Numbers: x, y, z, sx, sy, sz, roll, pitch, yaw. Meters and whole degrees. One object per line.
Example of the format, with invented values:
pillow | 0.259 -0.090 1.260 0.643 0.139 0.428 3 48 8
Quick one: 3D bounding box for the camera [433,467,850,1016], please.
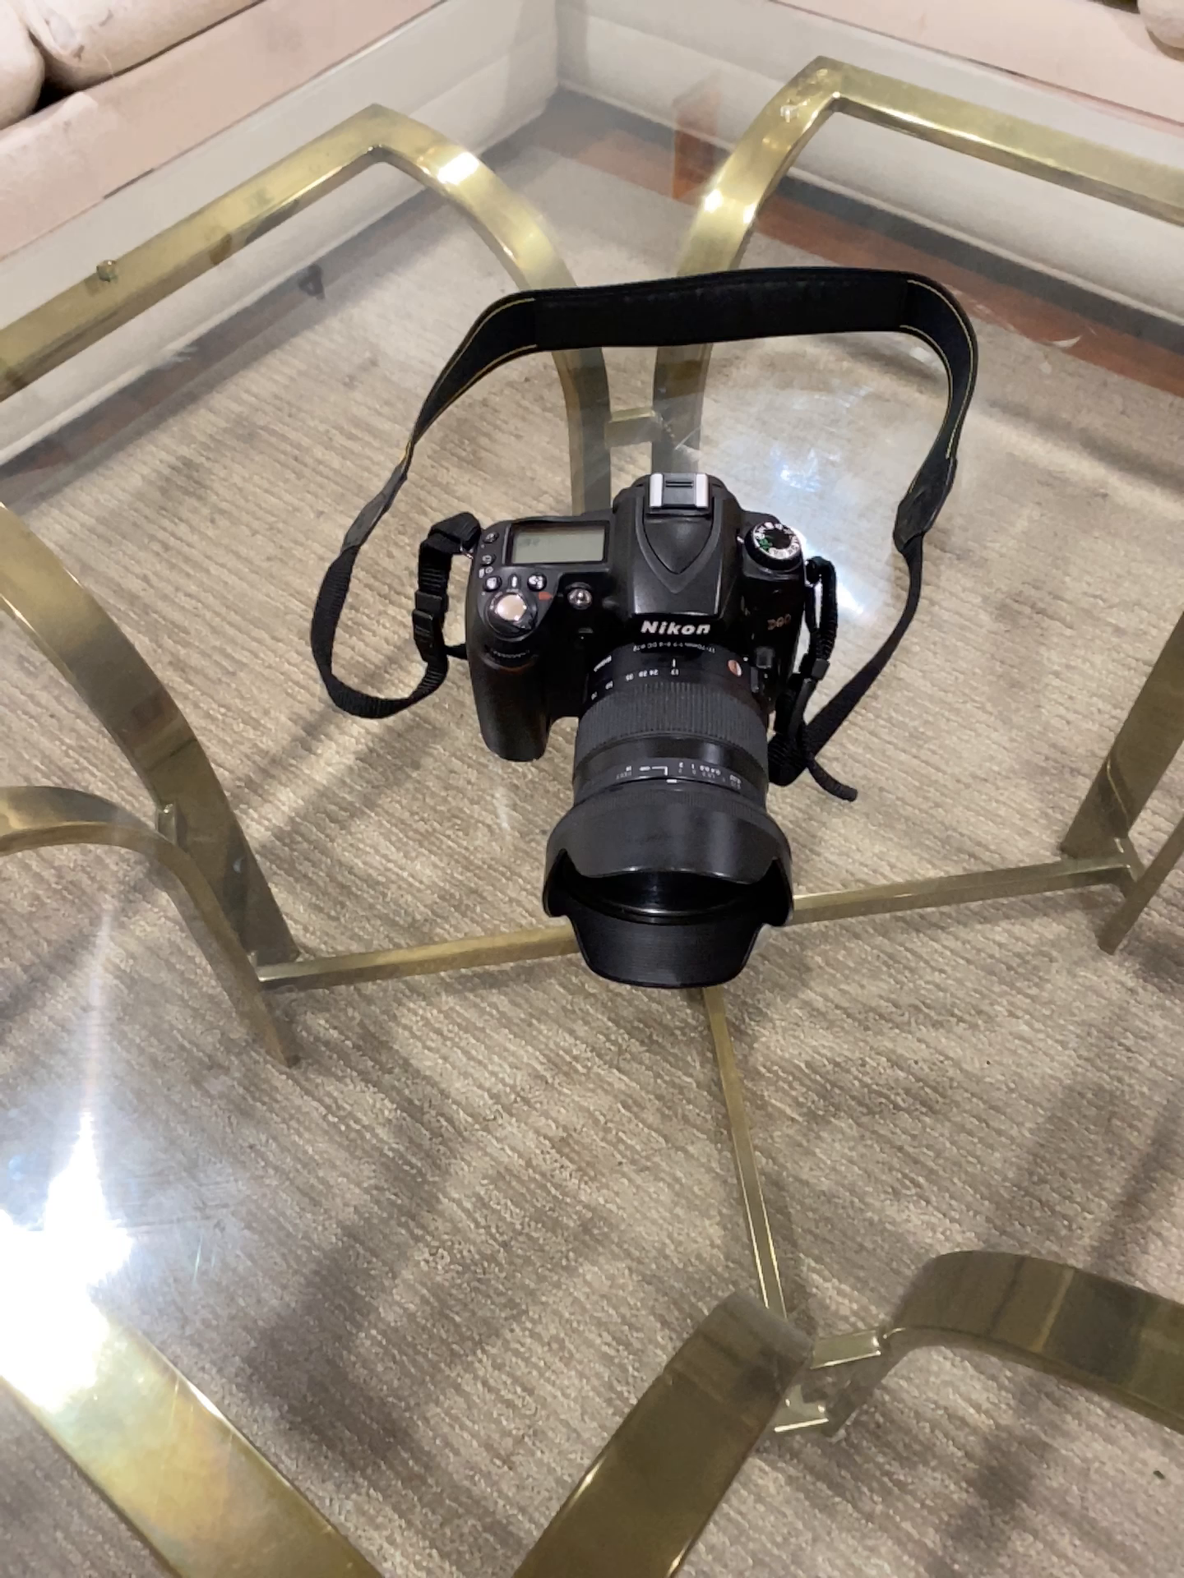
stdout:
camera | 0.018 -0.020 0.478 0.130 0.120 0.181 0 55 2
